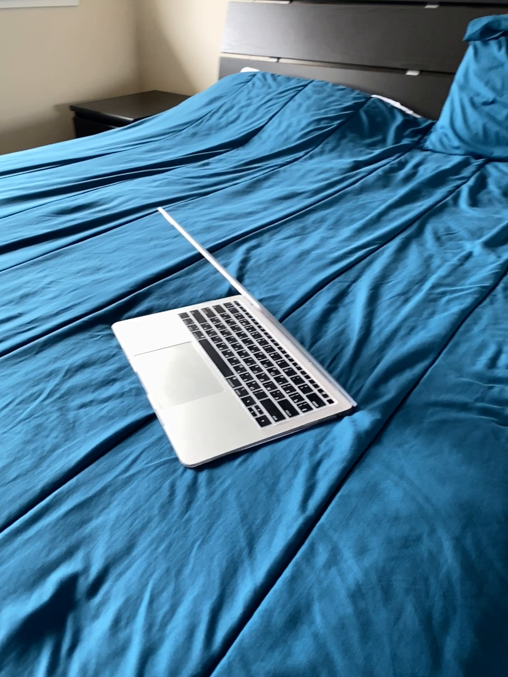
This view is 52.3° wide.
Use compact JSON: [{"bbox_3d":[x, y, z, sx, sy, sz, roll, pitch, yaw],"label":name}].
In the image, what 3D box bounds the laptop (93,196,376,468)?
[{"bbox_3d":[-0.041,-0.036,0.627,0.215,0.161,0.297,-15,36,-23],"label":"laptop"}]
